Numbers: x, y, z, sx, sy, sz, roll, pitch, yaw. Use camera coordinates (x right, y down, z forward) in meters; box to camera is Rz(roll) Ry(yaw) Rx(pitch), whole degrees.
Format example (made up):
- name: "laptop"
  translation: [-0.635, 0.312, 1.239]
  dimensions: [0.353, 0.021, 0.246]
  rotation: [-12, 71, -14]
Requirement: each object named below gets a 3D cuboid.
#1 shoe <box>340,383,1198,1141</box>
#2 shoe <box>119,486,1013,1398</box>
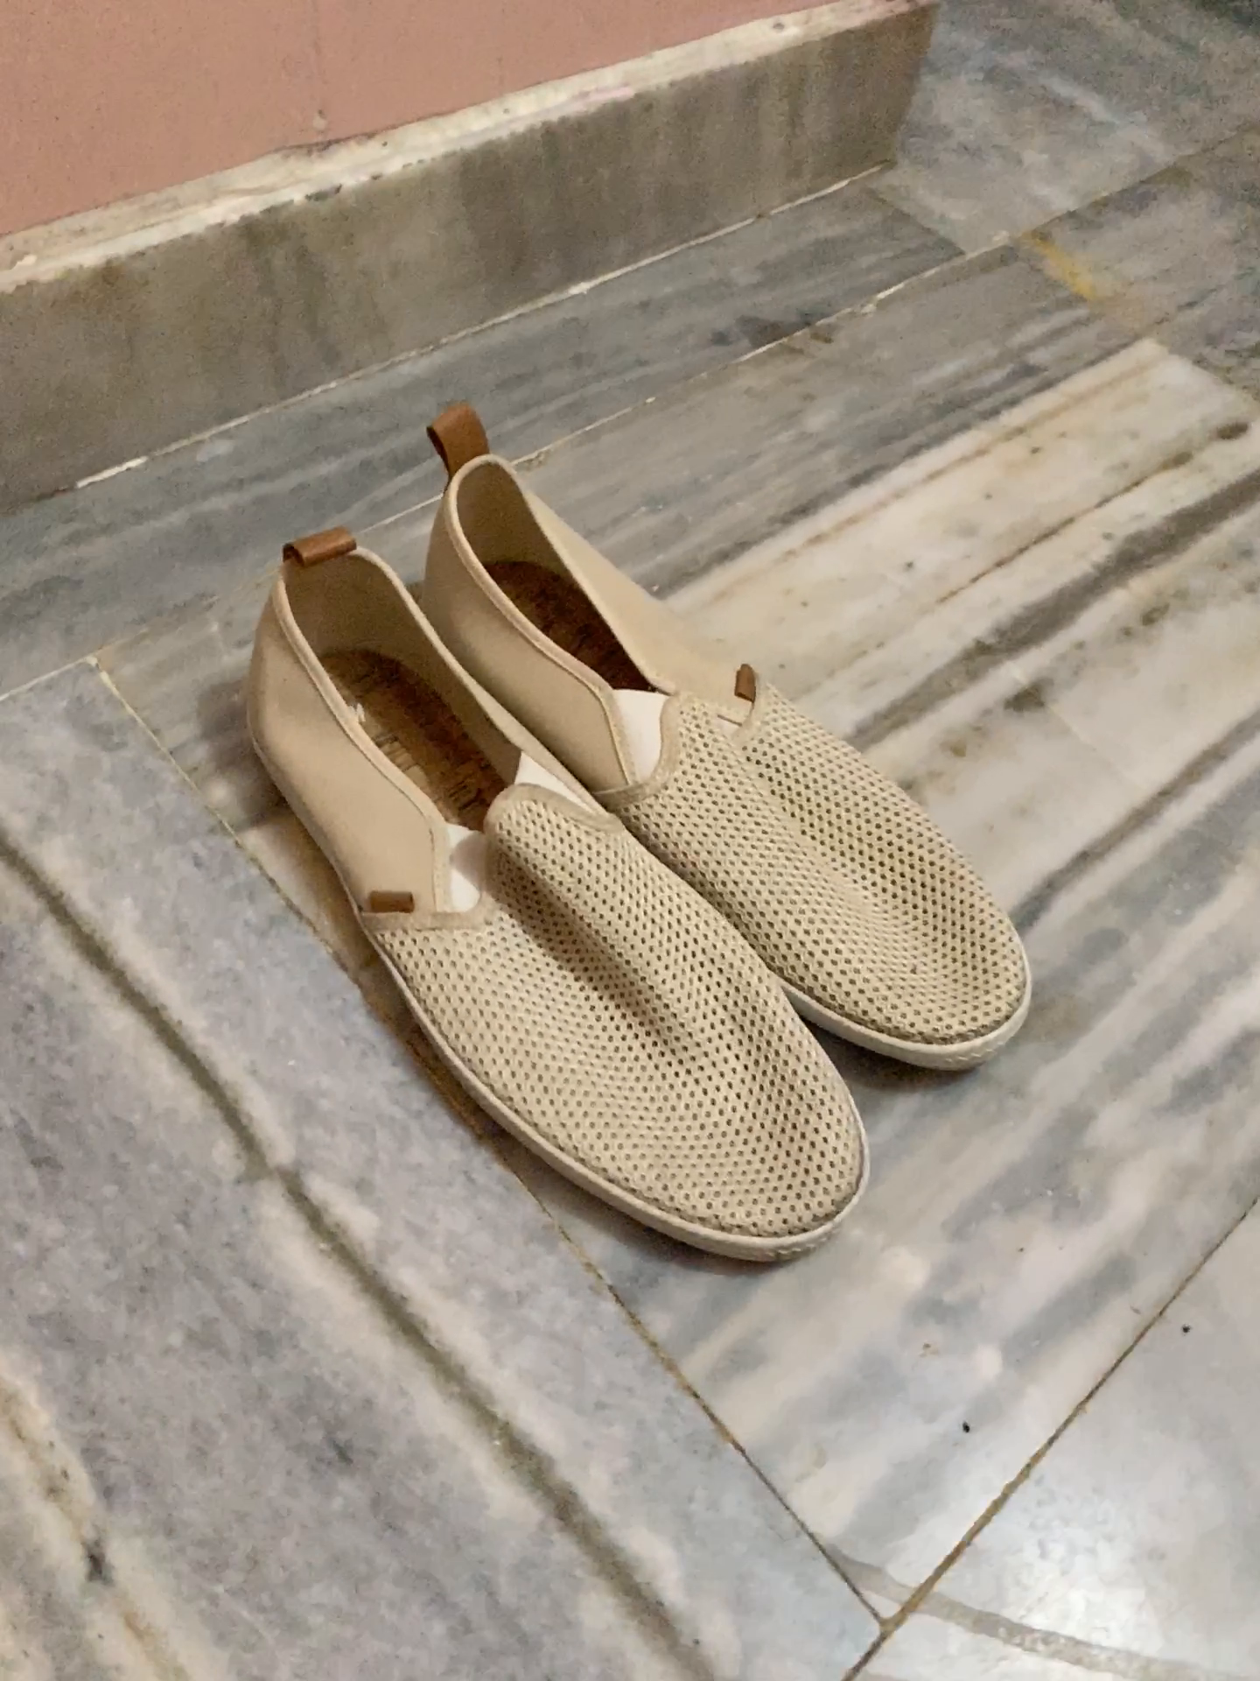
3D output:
- name: "shoe"
  translation: [0.037, -0.045, 0.495]
  dimensions: [0.310, 0.080, 0.116]
  rotation: [40, 59, 21]
- name: "shoe"
  translation: [-0.037, 0.015, 0.443]
  dimensions: [0.116, 0.080, 0.310]
  rotation: [-32, 63, -26]
